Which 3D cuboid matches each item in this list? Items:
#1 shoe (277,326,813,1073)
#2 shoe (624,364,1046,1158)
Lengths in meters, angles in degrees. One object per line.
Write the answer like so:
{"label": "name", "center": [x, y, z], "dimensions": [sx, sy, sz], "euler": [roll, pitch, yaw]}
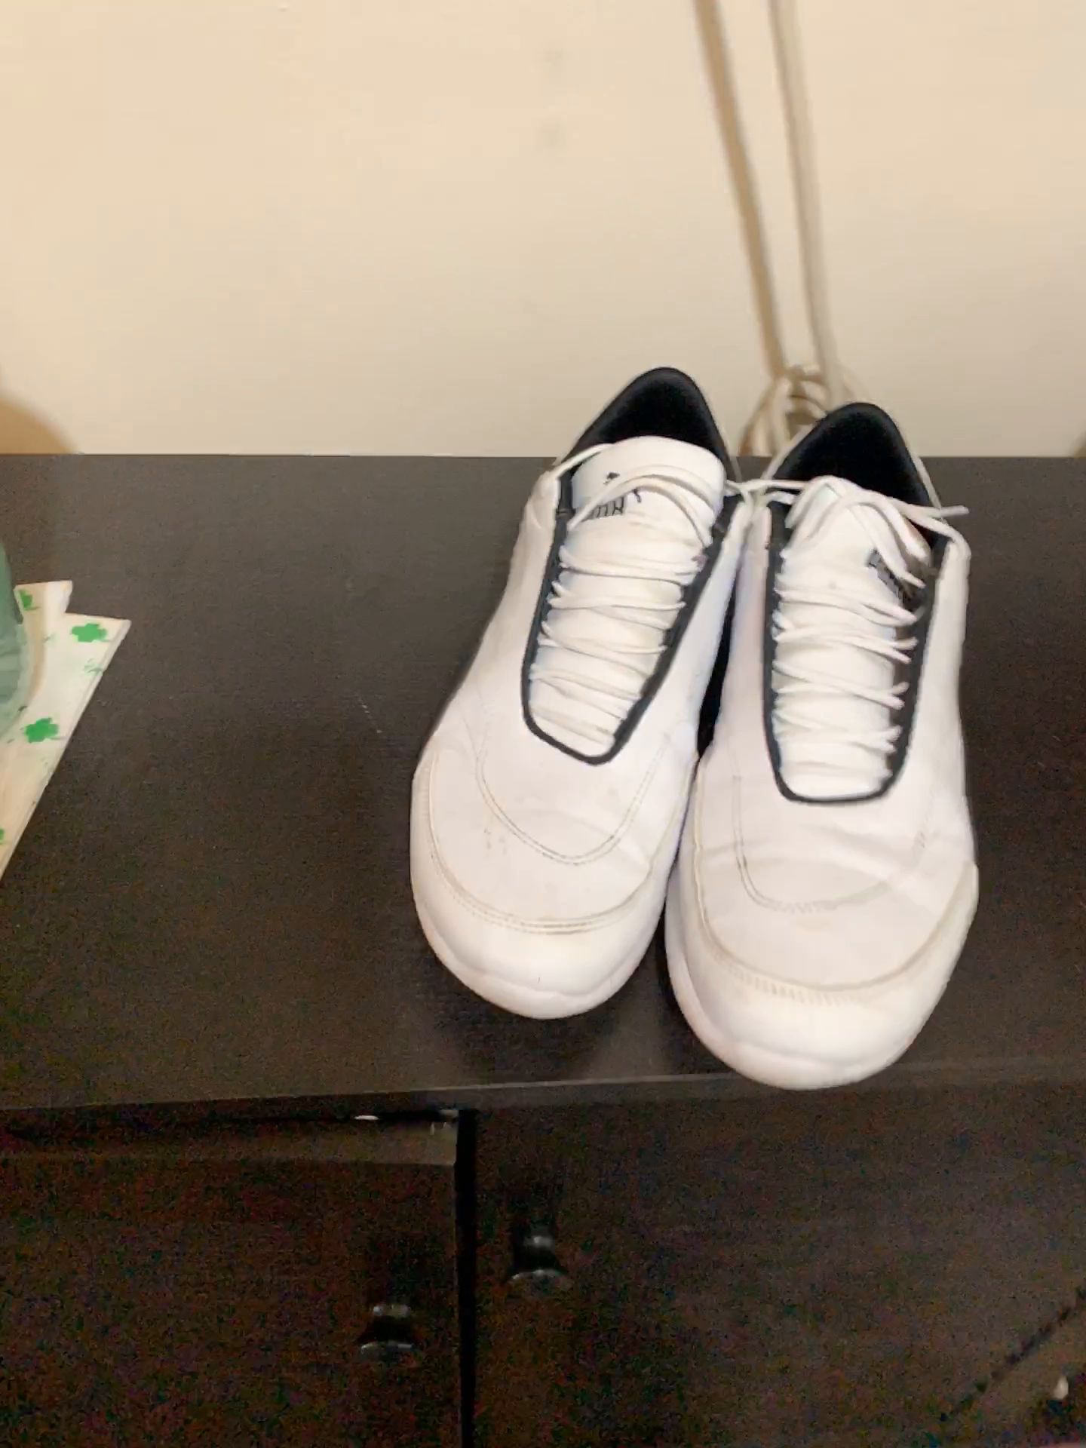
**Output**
{"label": "shoe", "center": [0.019, -0.032, 0.424], "dimensions": [0.120, 0.089, 0.283], "euler": [12, 49, 8]}
{"label": "shoe", "center": [0.113, -0.011, 0.414], "dimensions": [0.100, 0.089, 0.293], "euler": [12, 49, 8]}
